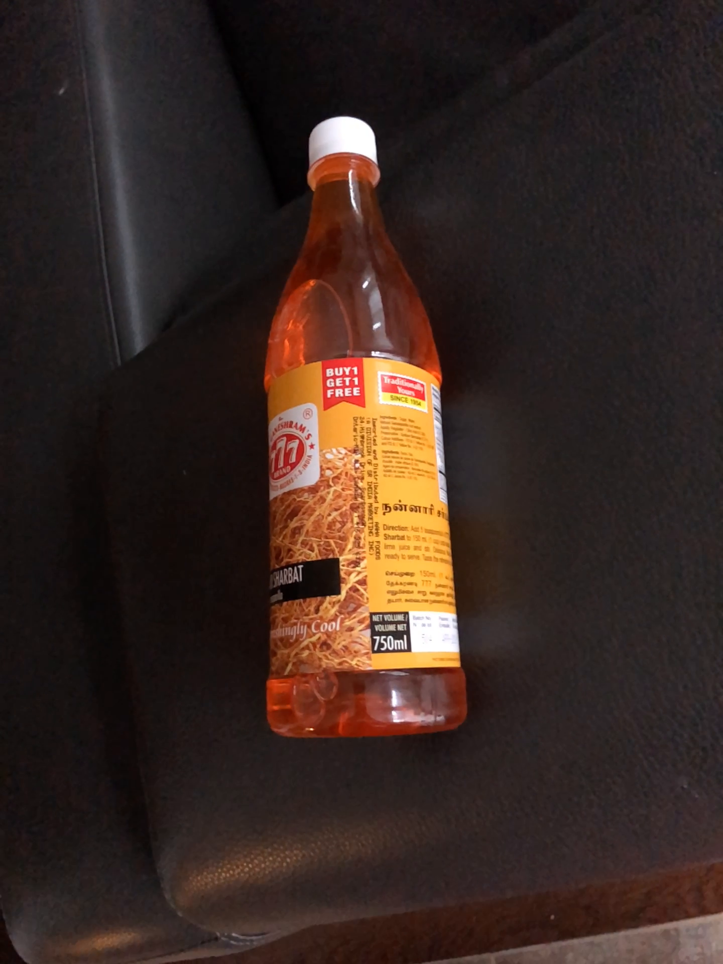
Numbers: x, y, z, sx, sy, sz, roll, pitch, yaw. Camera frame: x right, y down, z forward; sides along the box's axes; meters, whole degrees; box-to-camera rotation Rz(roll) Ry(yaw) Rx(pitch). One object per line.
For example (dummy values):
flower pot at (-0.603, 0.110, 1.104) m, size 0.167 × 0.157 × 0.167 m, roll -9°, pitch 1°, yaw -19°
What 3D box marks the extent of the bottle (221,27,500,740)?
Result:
bottle at (-0.006, -0.038, 0.344) m, size 0.080 × 0.070 × 0.280 m, roll -19°, pitch 66°, yaw 46°
